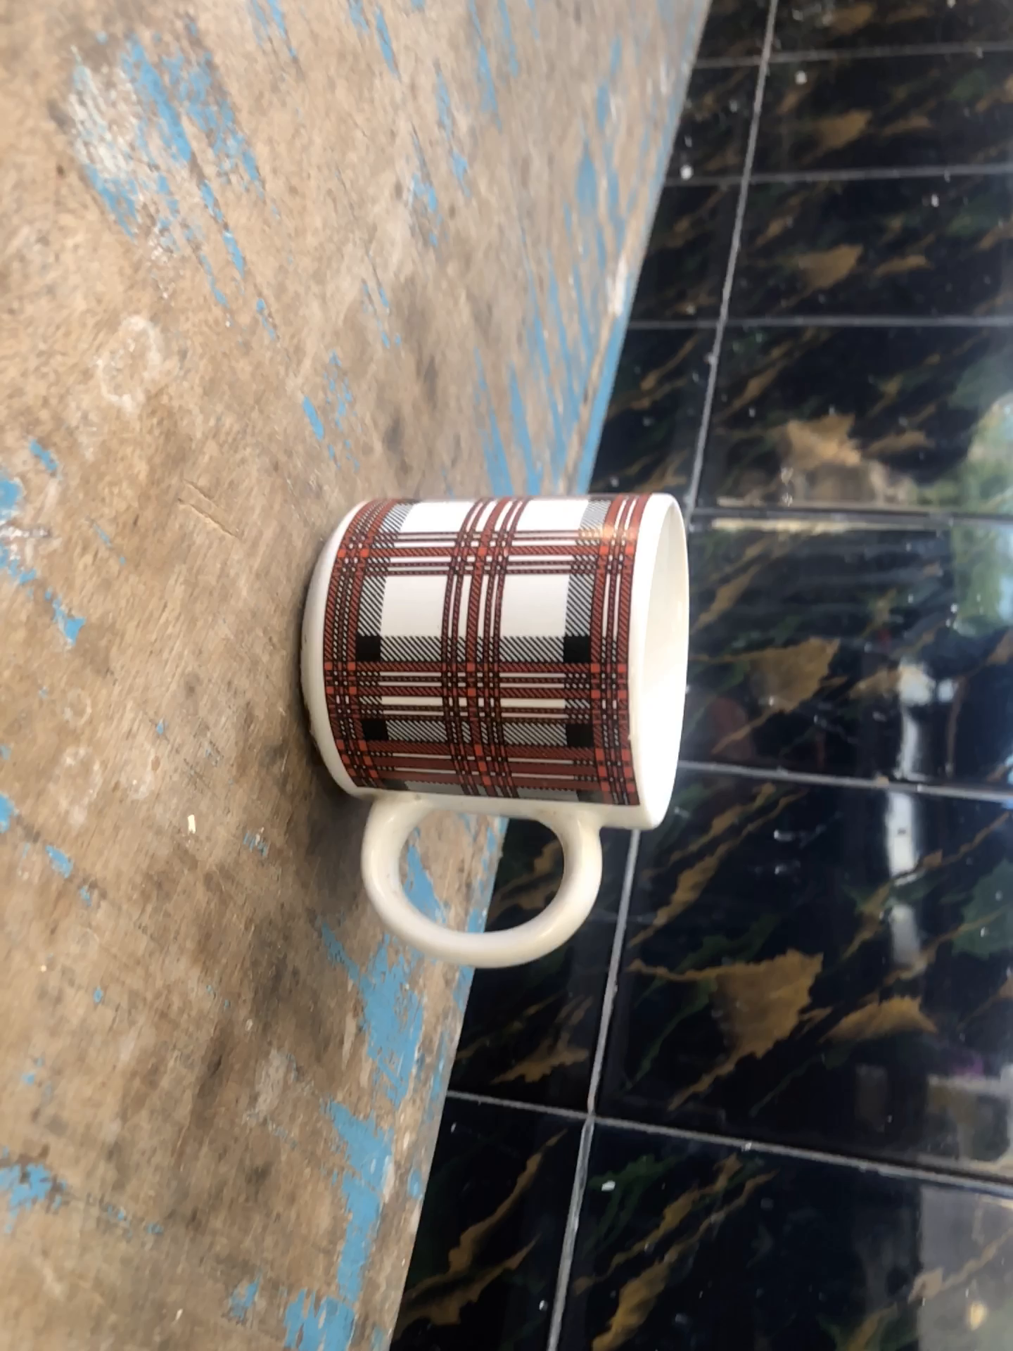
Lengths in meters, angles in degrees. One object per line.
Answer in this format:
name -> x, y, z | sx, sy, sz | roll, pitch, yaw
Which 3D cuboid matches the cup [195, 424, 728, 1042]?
cup -> 0.000, 0.009, 0.240 | 0.060, 0.080, 0.110 | 68, 29, -58
